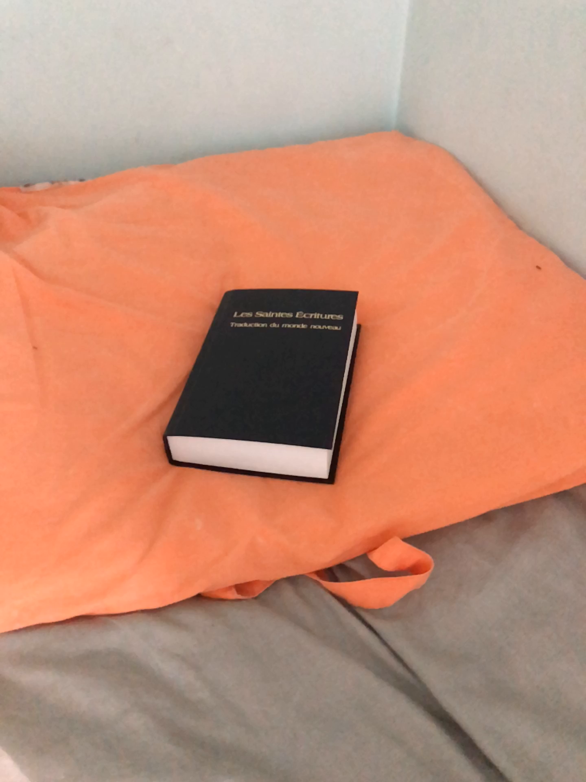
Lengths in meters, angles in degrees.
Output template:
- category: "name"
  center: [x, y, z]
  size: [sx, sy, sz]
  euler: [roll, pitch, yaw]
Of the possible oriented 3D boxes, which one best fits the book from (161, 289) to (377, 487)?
- category: "book"
  center: [-0.009, -0.012, 0.491]
  size: [0.126, 0.030, 0.175]
  euler: [3, 46, 13]
